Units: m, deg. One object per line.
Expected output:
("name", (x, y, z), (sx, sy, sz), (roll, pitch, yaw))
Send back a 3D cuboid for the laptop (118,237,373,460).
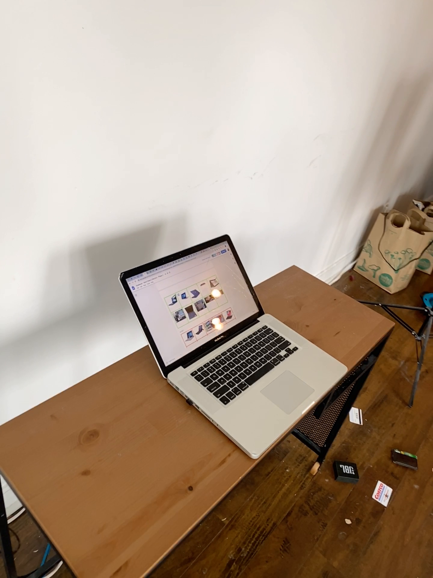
("laptop", (0.056, 0.089, 1.003), (0.436, 0.155, 0.360), (34, 41, 29))
